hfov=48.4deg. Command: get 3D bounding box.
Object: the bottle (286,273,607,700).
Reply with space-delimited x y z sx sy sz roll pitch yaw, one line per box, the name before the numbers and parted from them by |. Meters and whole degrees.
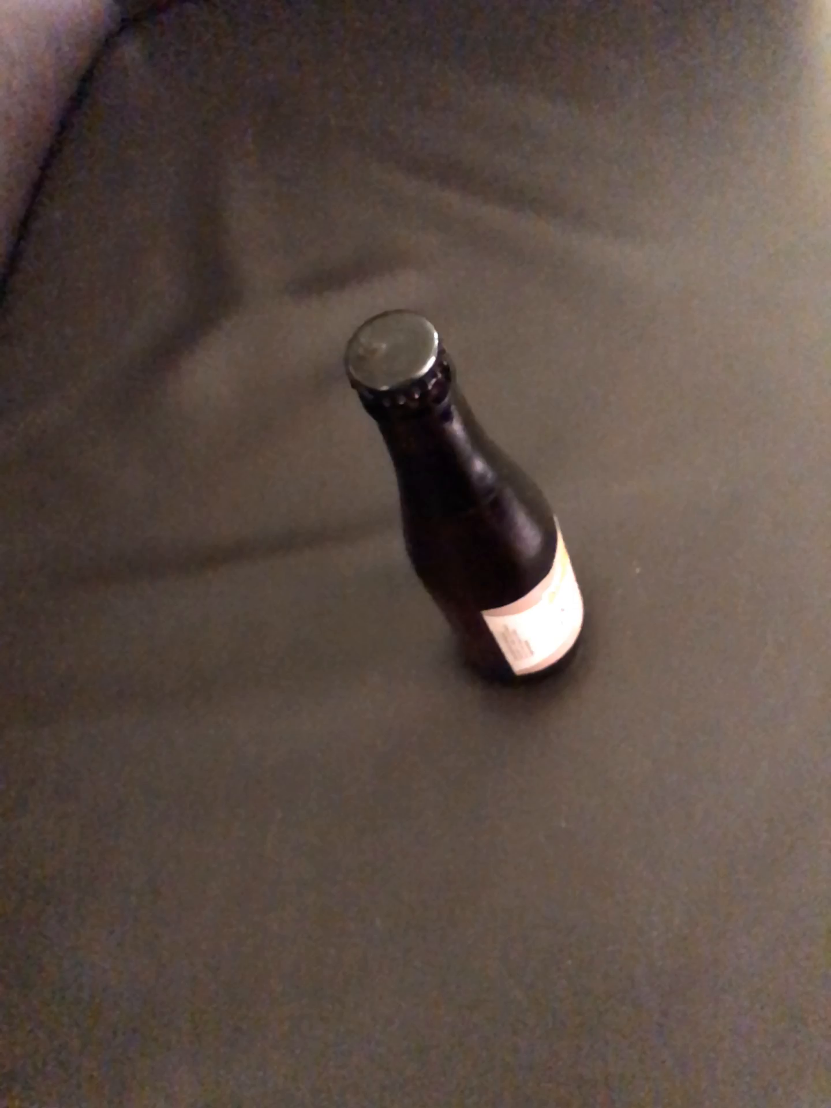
bottle | 0.027 -0.006 0.335 0.060 0.209 0.060 -7 65 14
